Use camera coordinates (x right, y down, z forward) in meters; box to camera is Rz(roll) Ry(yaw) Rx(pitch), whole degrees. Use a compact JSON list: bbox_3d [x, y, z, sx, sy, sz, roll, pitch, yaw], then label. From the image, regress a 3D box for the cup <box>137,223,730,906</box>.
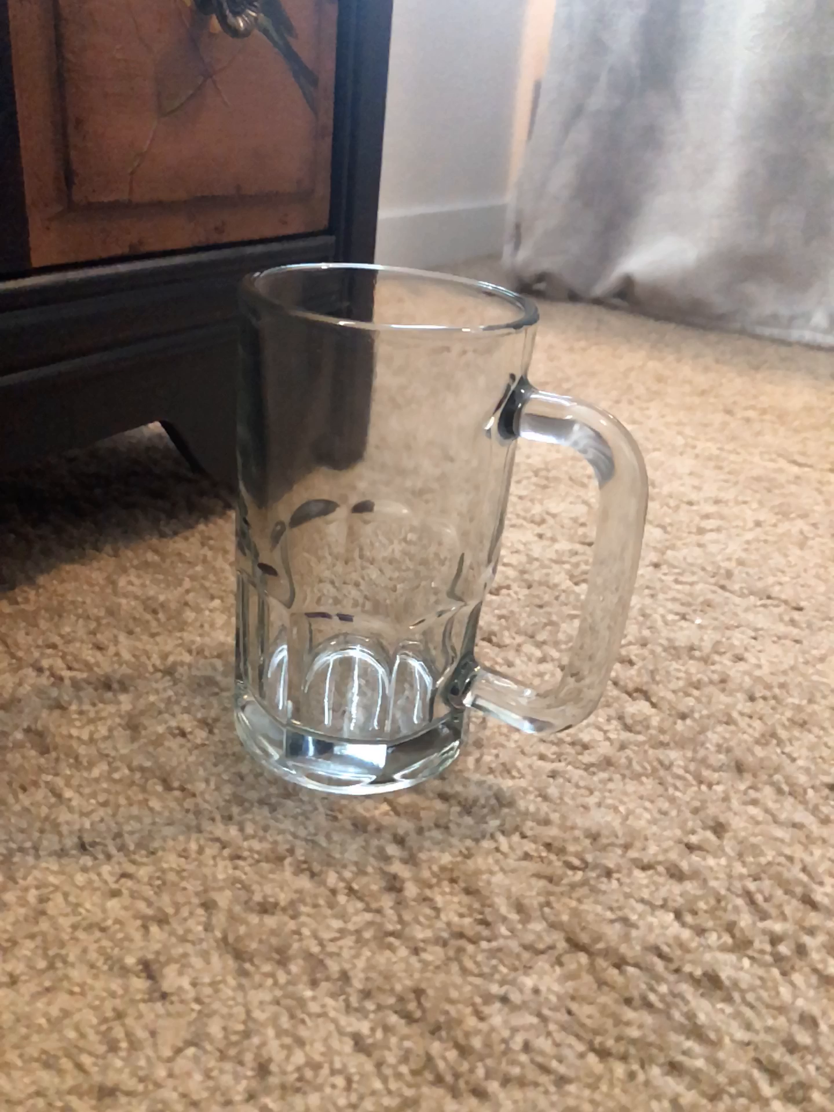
[{"bbox_3d":[0.002,-0.010,0.283,0.133,0.156,0.097,16,25,23],"label":"cup"}]
